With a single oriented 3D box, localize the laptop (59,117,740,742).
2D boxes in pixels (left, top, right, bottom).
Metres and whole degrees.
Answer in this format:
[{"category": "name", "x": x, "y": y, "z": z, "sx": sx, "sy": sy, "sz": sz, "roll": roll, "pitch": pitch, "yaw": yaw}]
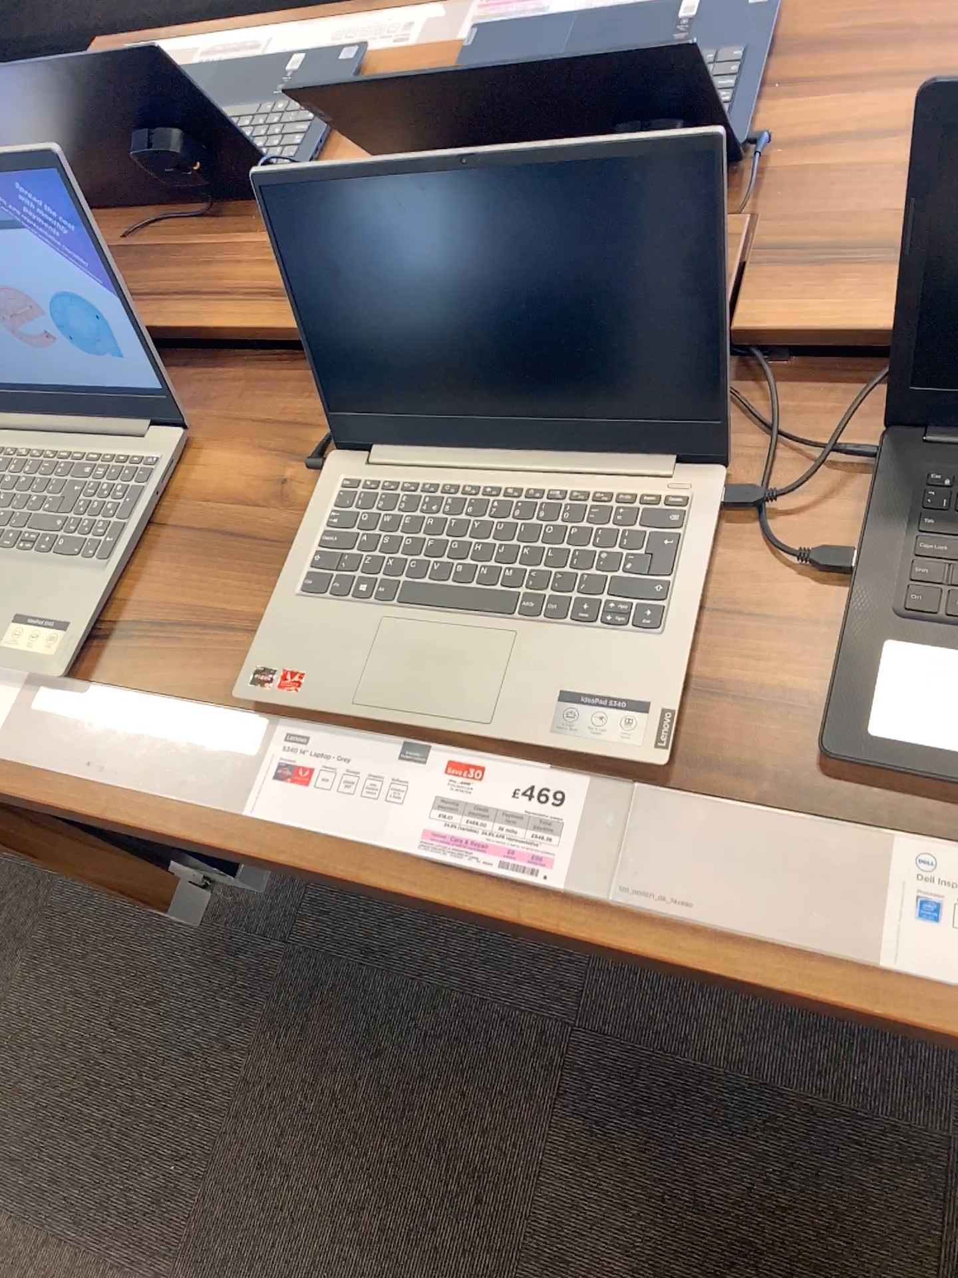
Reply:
[{"category": "laptop", "x": -0.023, "y": -0.134, "z": 0.628, "sx": 0.316, "sy": 0.200, "sz": 0.295, "roll": 7, "pitch": 65, "yaw": 23}]
